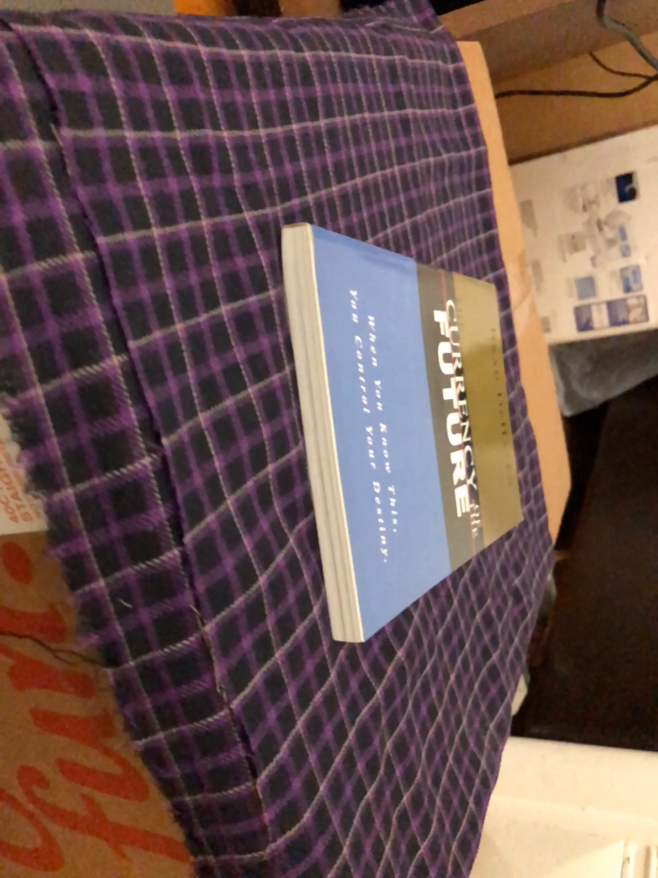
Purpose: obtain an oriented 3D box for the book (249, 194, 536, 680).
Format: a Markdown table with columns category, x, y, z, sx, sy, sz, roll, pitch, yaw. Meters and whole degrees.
| category | x | y | z | sx | sy | sz | roll | pitch | yaw |
| --- | --- | --- | --- | --- | --- | --- | --- | --- | --- |
| book | 0.047 | -0.008 | 0.325 | 0.221 | 0.020 | 0.150 | -10 | 93 | -61 |
